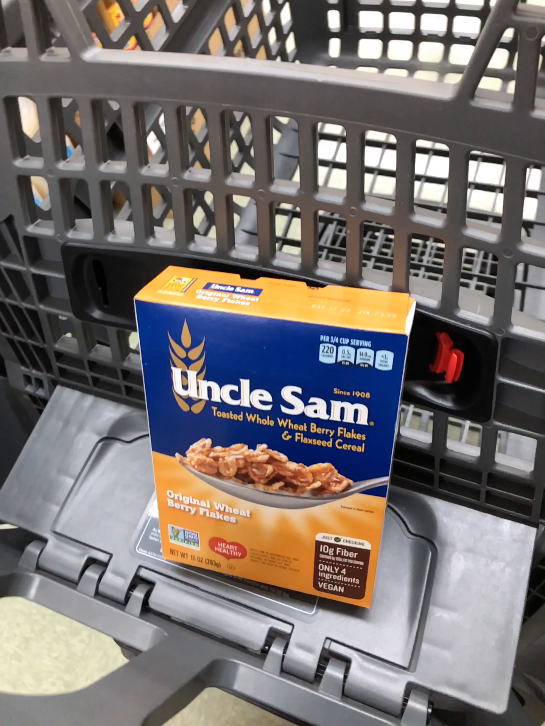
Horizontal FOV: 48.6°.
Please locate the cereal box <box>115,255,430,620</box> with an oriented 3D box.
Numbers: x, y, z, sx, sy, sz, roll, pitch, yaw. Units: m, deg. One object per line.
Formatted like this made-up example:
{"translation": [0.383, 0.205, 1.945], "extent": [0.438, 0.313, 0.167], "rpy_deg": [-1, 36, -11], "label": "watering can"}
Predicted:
{"translation": [0.000, 0.050, 0.374], "extent": [0.160, 0.210, 0.050], "rpy_deg": [9, 32, 15], "label": "cereal box"}
